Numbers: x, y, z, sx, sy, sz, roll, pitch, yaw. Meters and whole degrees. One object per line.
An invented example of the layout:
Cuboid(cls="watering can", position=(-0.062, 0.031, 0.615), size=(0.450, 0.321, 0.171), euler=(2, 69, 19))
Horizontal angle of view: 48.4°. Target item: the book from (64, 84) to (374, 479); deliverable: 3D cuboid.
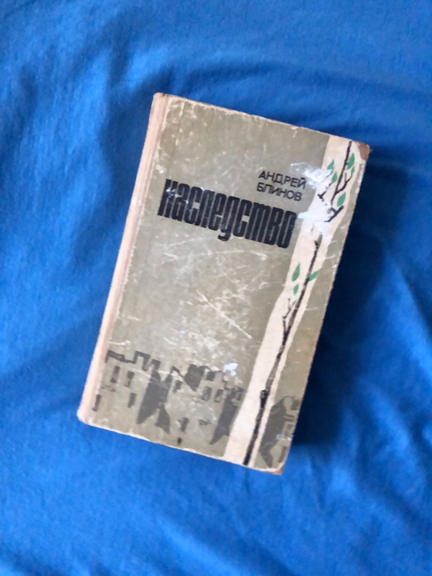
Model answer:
Cuboid(cls="book", position=(0.001, -0.002, 0.295), size=(0.130, 0.040, 0.200), euler=(15, 92, -1))
